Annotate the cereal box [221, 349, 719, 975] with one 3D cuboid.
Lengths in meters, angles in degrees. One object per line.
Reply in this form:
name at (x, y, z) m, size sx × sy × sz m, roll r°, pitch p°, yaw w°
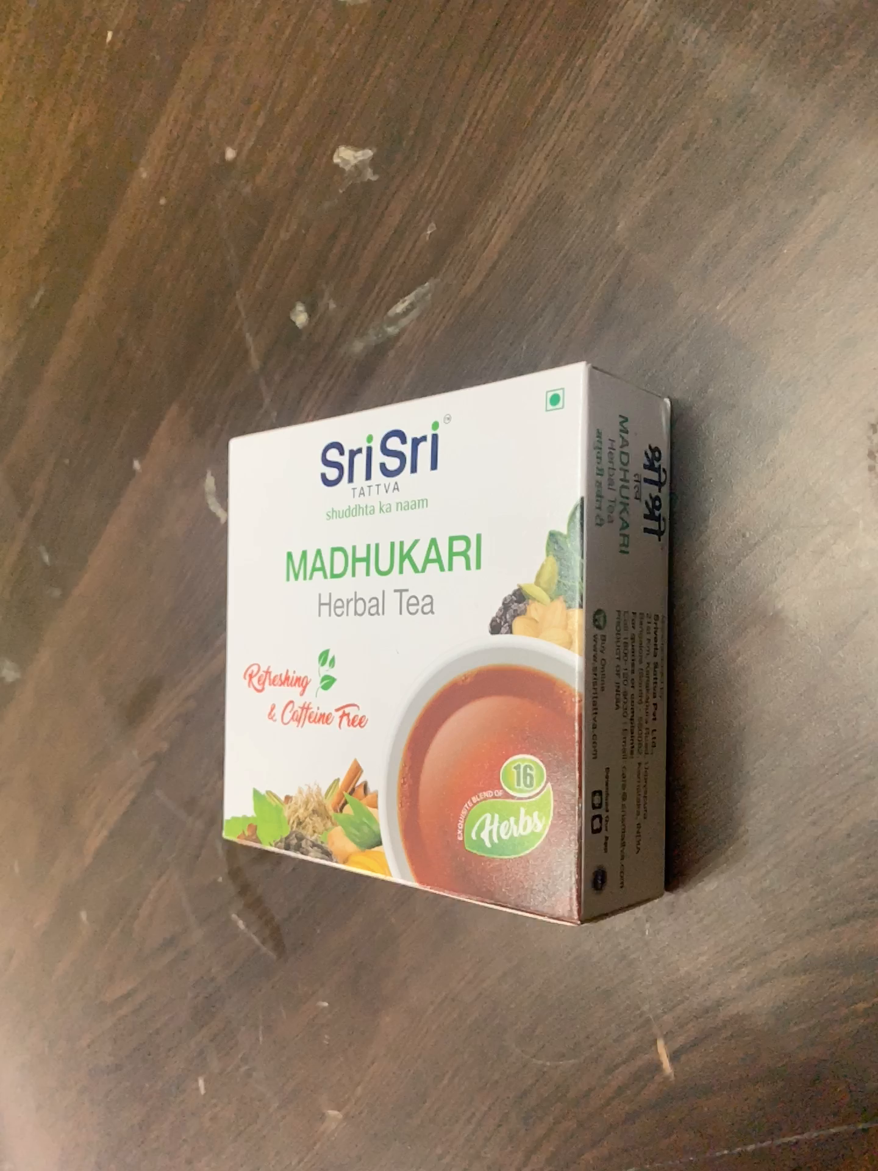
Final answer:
cereal box at (0.000, 0.016, 0.233) m, size 0.131 × 0.040 × 0.120 m, roll -2°, pitch 88°, yaw 41°
